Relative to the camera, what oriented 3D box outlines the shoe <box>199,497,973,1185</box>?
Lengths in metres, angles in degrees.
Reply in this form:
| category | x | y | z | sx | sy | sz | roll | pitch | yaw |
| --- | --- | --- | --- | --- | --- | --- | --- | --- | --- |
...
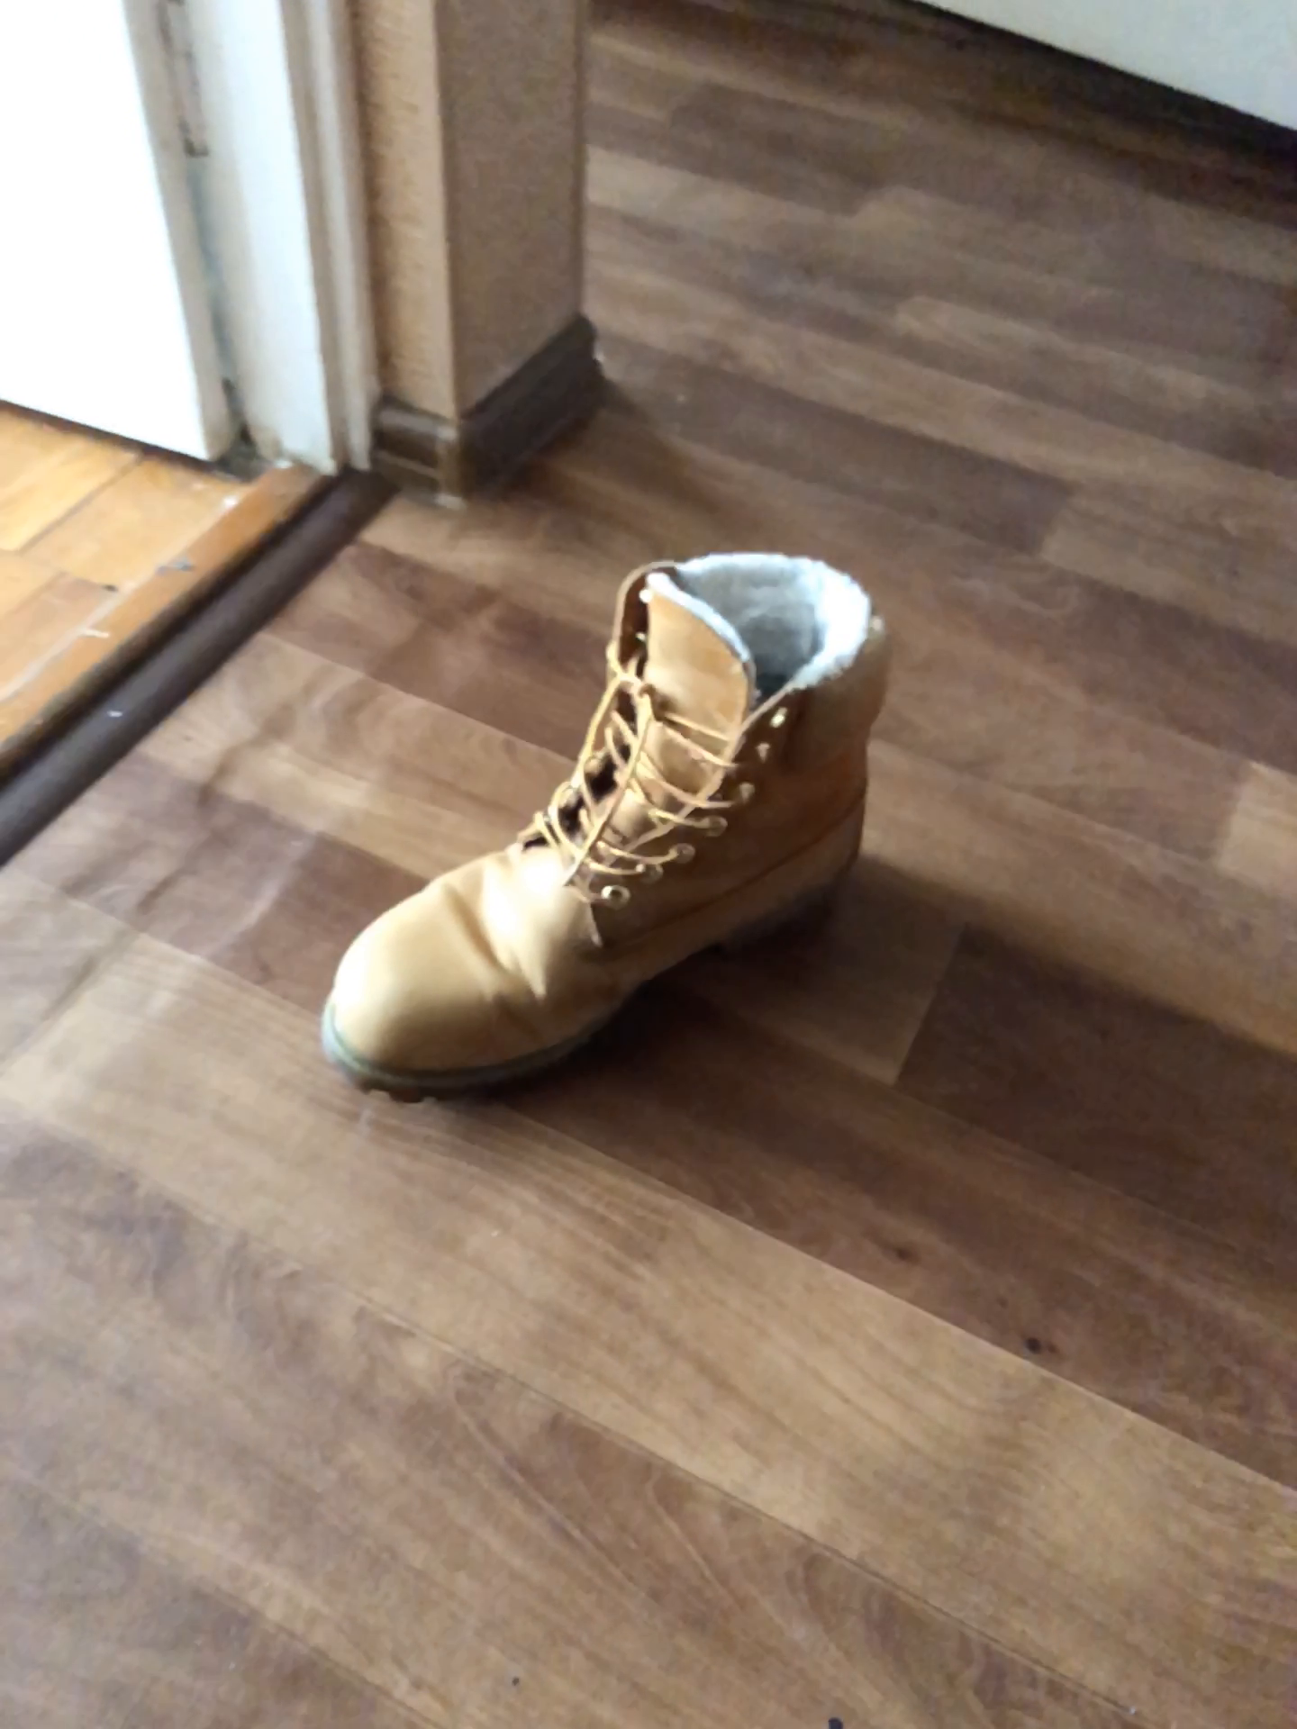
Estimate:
| category | x | y | z | sx | sy | sz | roll | pitch | yaw |
| --- | --- | --- | --- | --- | --- | --- | --- | --- | --- |
| shoe | -0.023 | -0.016 | 0.638 | 0.291 | 0.179 | 0.120 | -25 | 55 | -24 |
